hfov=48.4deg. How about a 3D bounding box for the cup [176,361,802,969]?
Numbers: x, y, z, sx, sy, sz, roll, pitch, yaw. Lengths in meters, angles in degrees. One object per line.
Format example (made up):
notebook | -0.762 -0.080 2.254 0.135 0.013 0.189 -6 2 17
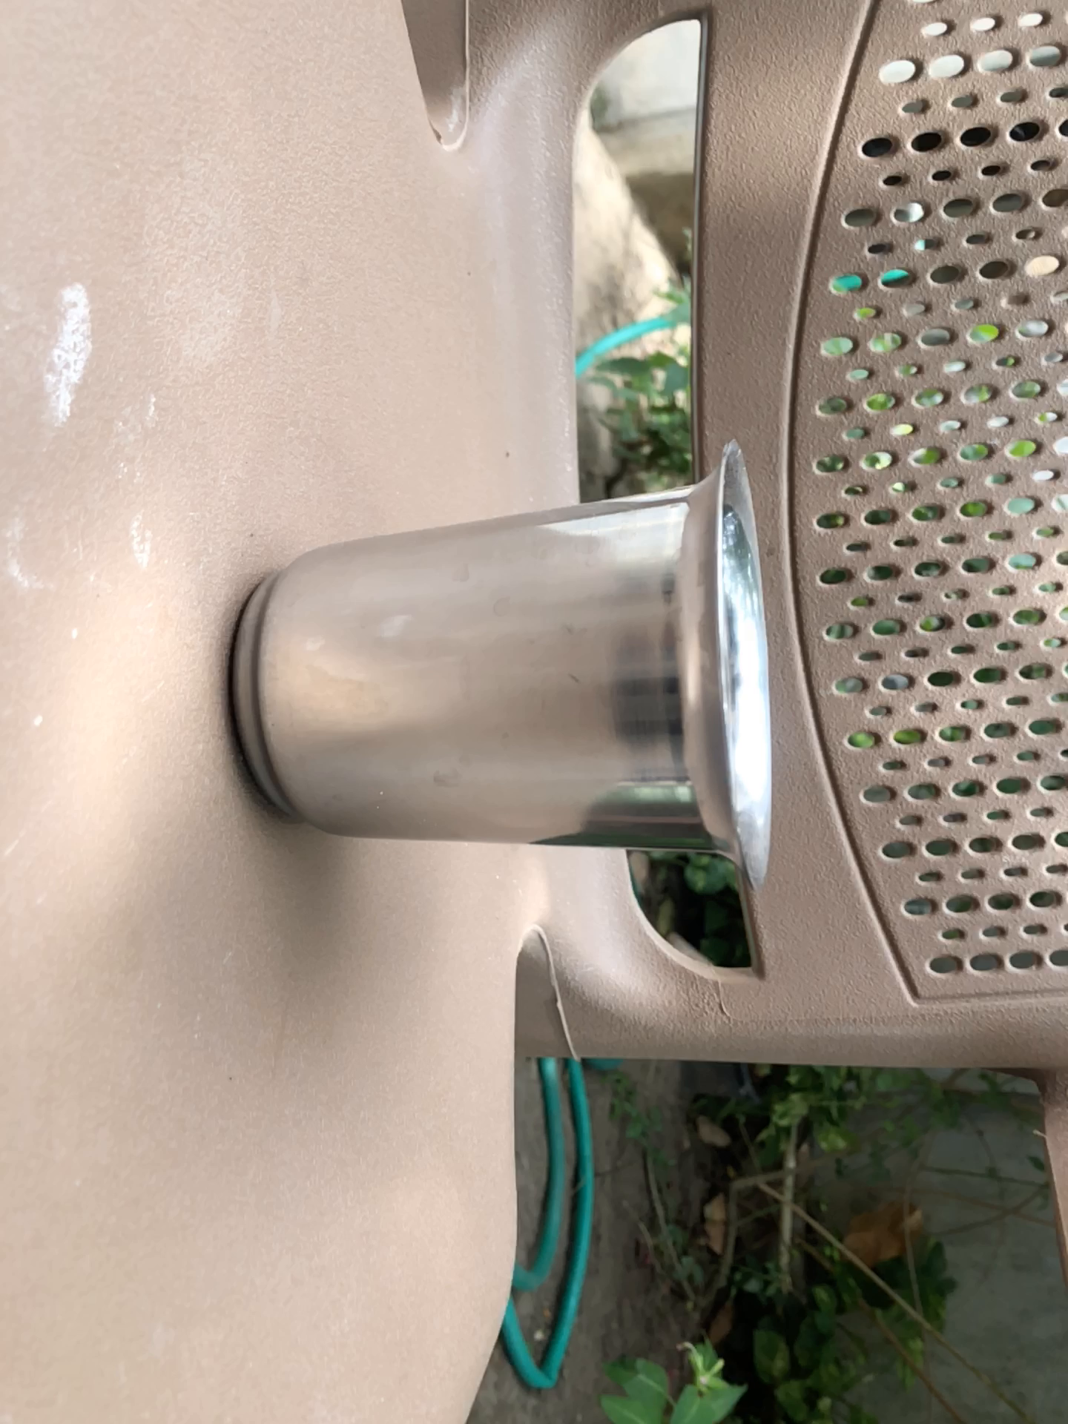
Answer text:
cup | 0.002 -0.004 0.242 0.090 0.089 0.080 61 33 -53
